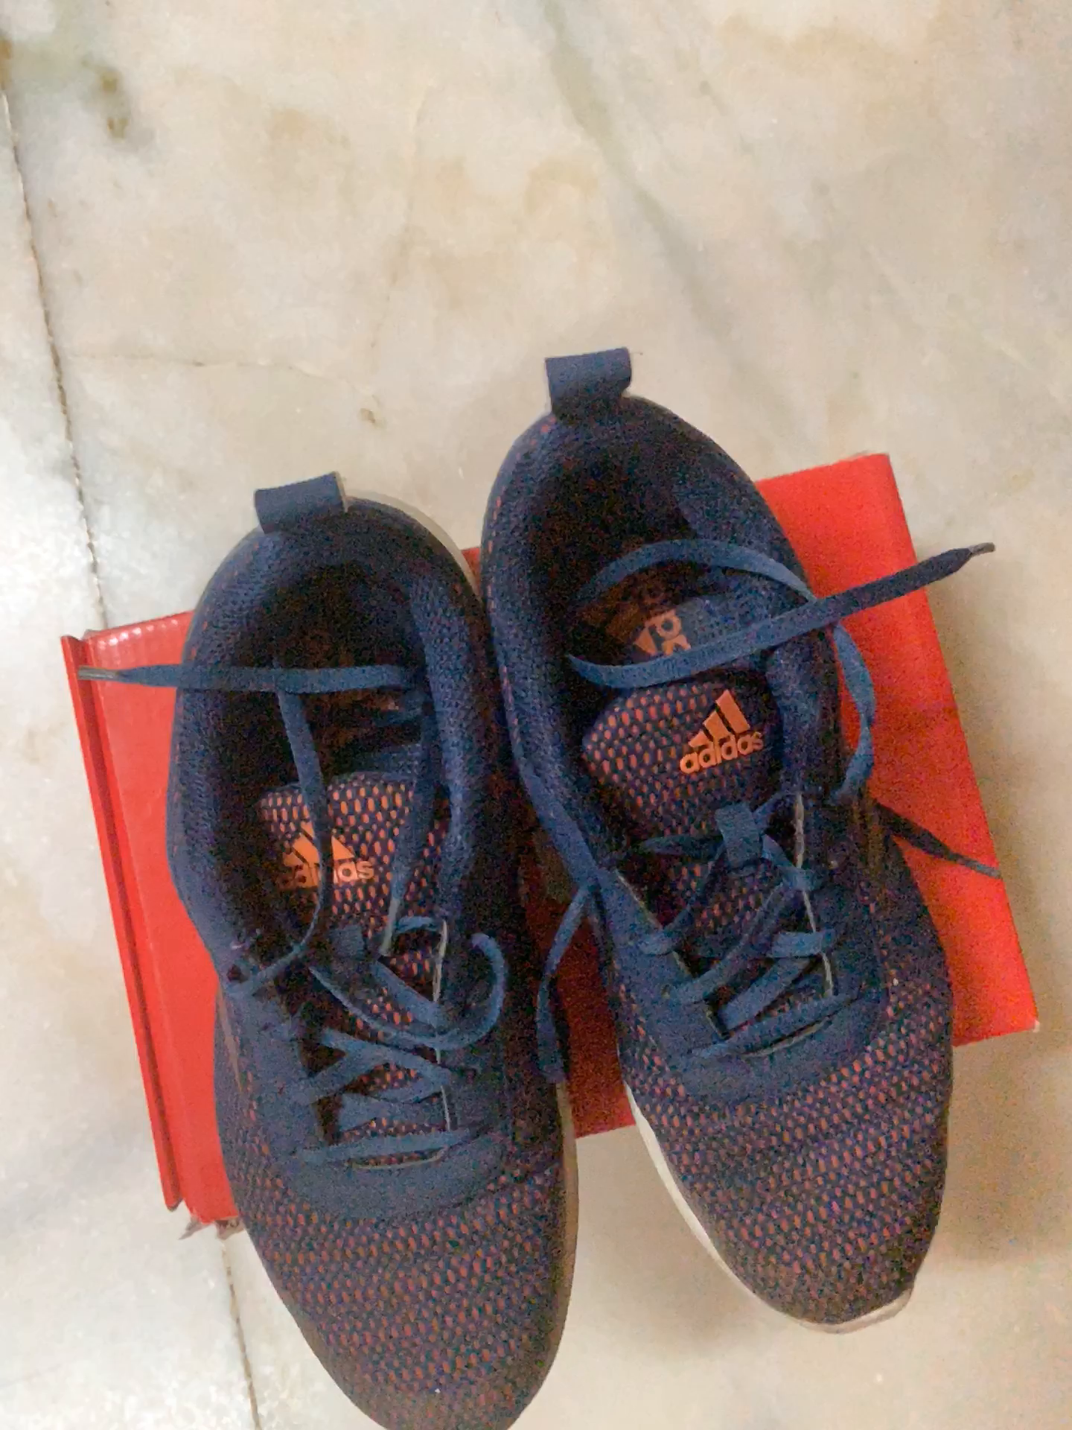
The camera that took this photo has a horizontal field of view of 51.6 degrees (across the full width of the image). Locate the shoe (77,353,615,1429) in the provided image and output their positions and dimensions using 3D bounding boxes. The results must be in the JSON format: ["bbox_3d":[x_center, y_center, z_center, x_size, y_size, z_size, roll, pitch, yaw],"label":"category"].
[{"bbox_3d":[-0.052,0.061,0.340,0.100,0.100,0.300,-9,86,0],"label":"shoe"}]

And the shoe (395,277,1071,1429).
[{"bbox_3d":[0.052,0.040,0.310,0.100,0.080,0.280,-16,86,-1],"label":"shoe"}]
